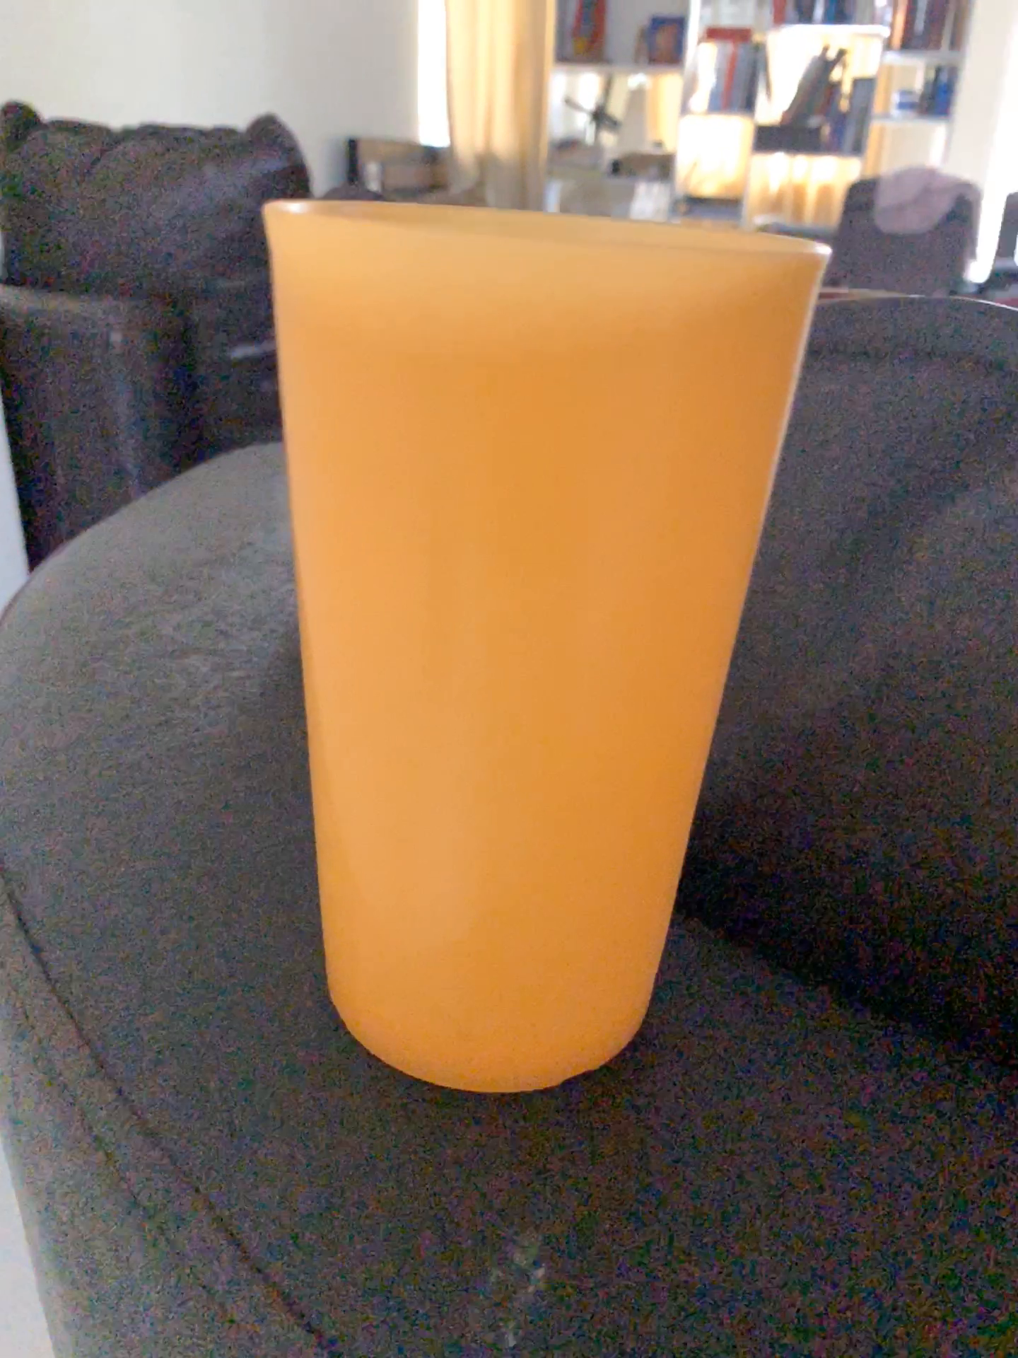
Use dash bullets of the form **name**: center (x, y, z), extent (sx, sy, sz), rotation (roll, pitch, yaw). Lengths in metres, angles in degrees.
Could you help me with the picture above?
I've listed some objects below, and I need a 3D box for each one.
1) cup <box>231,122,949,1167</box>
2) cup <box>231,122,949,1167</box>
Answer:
- **cup**: center (0.001, -0.009, 0.161), extent (0.070, 0.129, 0.070), rotation (2, 25, -1)
- **cup**: center (0.001, -0.009, 0.161), extent (0.070, 0.129, 0.070), rotation (2, 25, -1)
